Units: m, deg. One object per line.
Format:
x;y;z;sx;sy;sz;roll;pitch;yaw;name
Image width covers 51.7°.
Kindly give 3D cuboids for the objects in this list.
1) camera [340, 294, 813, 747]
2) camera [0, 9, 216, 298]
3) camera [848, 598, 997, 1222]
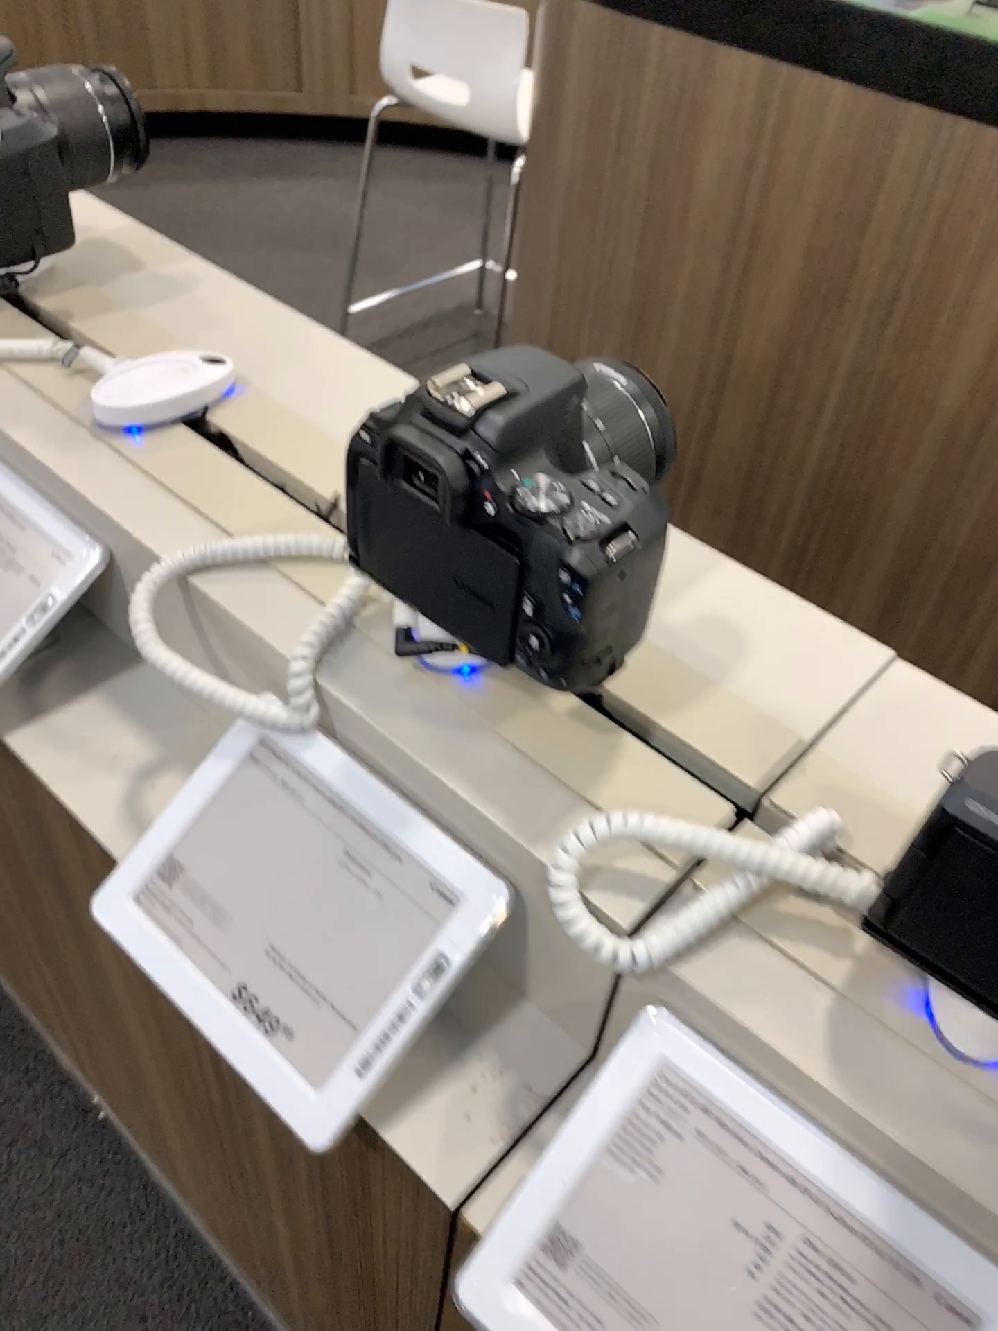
0.029;-0.066;0.416;0.122;0.089;0.135;32;50;24;camera
-0.280;-0.318;0.630;0.134;0.101;0.146;37;52;27;camera
0.192;0.065;0.306;0.112;0.088;0.111;32;50;24;camera
